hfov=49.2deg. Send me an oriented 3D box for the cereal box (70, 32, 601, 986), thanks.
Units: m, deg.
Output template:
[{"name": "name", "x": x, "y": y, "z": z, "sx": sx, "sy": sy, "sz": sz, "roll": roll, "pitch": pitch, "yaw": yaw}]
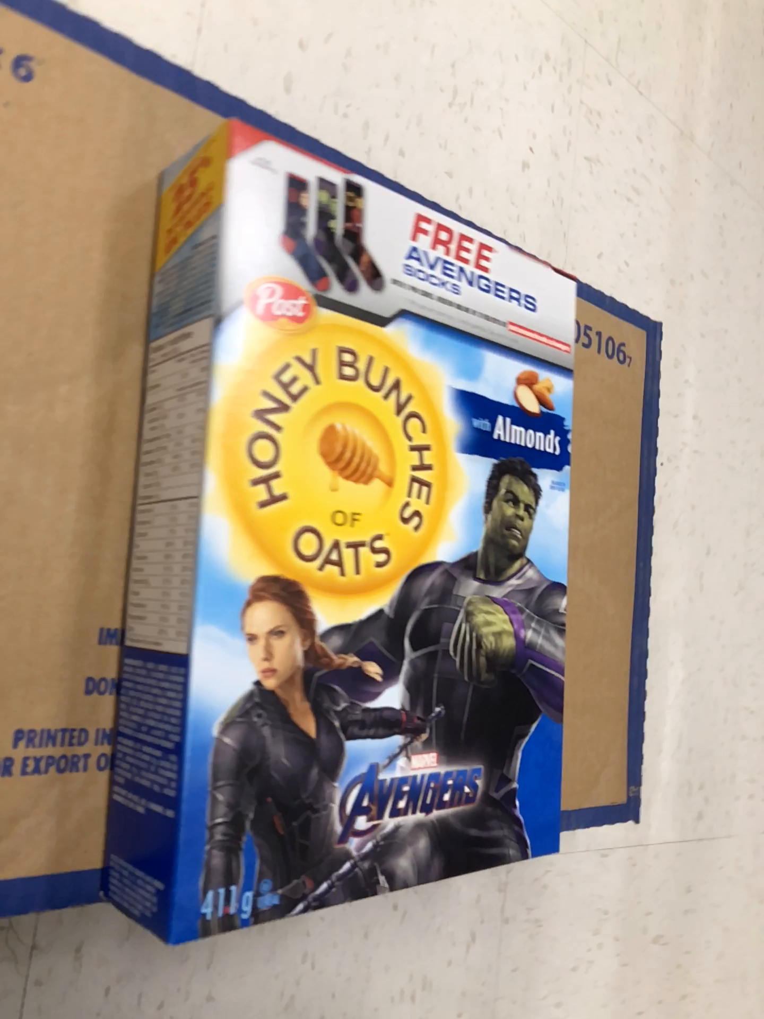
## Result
[{"name": "cereal box", "x": -0.002, "y": 0.003, "z": 0.344, "sx": 0.201, "sy": 0.070, "sz": 0.290, "roll": 8, "pitch": 82, "yaw": -40}]
